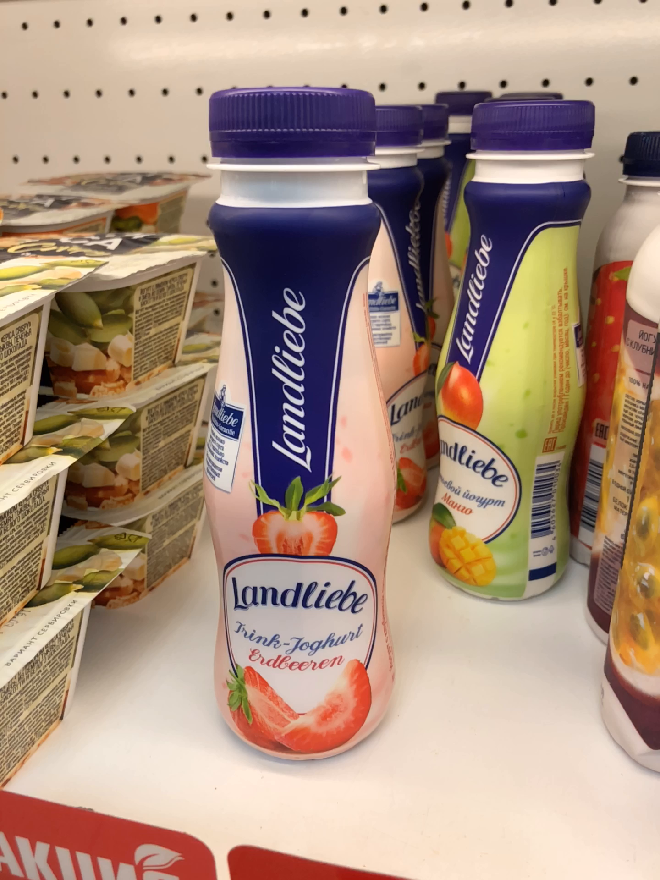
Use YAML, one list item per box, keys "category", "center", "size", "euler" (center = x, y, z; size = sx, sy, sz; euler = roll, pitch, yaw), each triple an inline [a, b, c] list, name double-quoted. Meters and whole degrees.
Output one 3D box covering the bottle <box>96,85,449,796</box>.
- category: "bottle"
  center: [-0.007, 0.002, 0.219]
  size: [0.070, 0.189, 0.070]
  euler: [-1, 23, 0]
